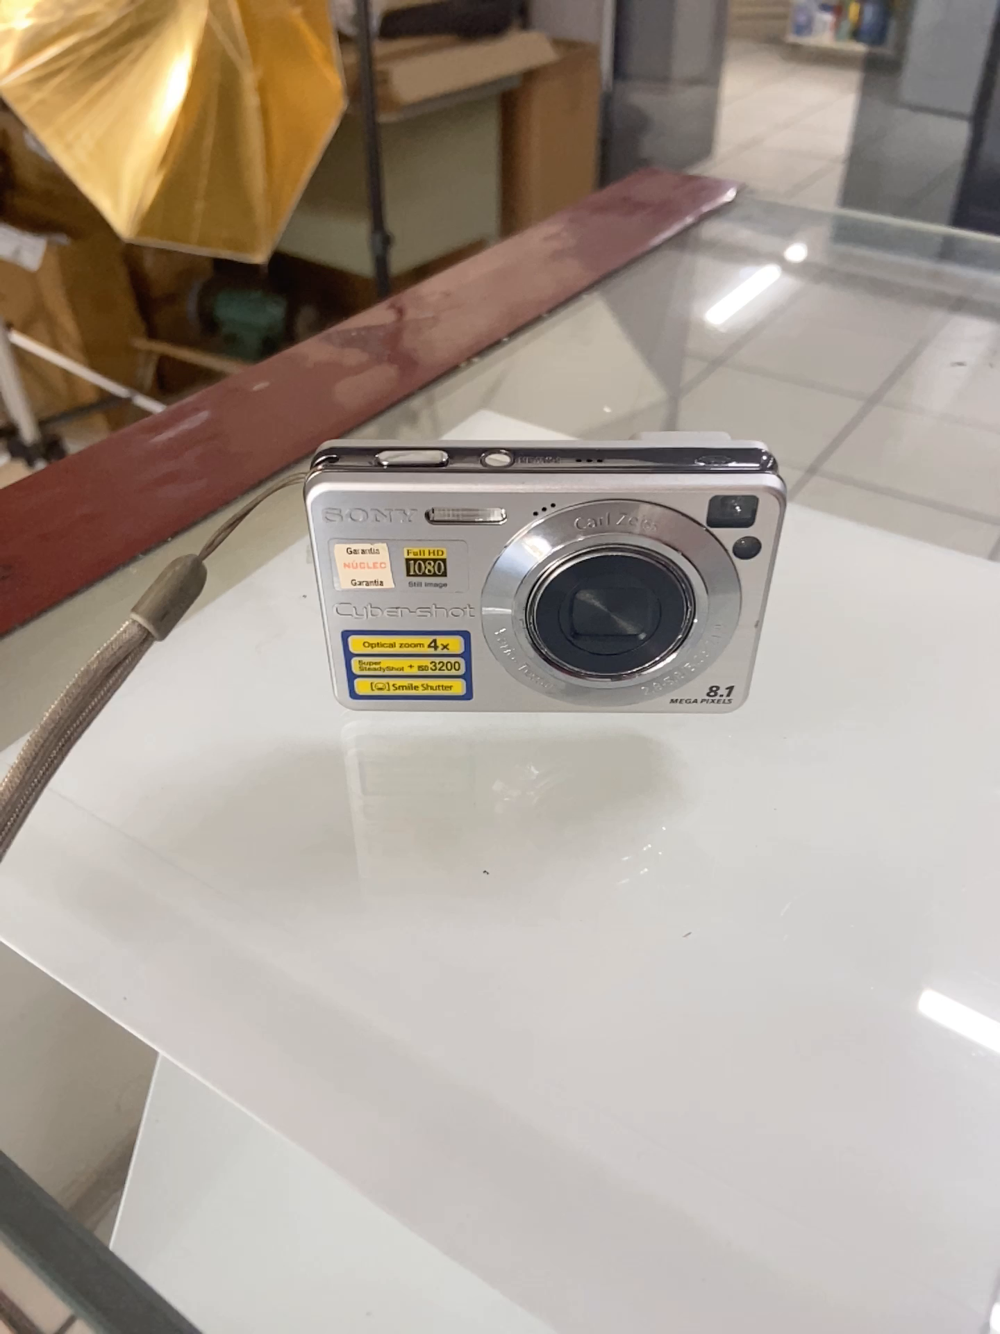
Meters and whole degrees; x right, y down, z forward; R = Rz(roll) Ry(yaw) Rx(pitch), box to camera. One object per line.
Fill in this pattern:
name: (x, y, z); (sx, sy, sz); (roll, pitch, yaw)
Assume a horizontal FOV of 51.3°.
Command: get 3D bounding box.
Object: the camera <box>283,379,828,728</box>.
camera: (0.009, -0.021, 0.203); (0.090, 0.060, 0.030); (-1, 39, 0)
